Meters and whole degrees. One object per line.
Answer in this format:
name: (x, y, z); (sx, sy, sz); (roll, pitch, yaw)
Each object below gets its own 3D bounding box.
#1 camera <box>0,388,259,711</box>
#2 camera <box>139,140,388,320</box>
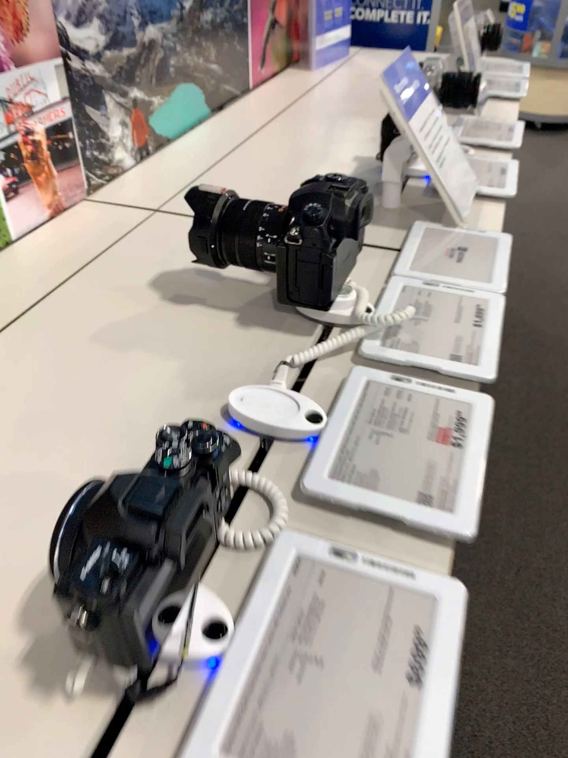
camera: (-0.069, 0.082, 0.313); (0.070, 0.080, 0.131); (12, 41, 13)
camera: (-0.013, -0.155, 0.586); (0.200, 0.099, 0.141); (12, 41, 13)
